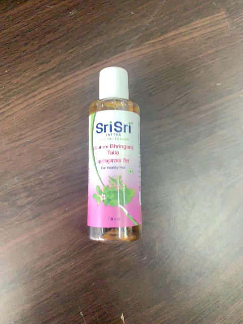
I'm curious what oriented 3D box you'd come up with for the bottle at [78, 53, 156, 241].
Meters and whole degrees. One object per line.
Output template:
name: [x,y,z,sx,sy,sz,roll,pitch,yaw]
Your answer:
bottle: [-0.003,-0.010,0.193,0.050,0.040,0.130,0,82,-2]
